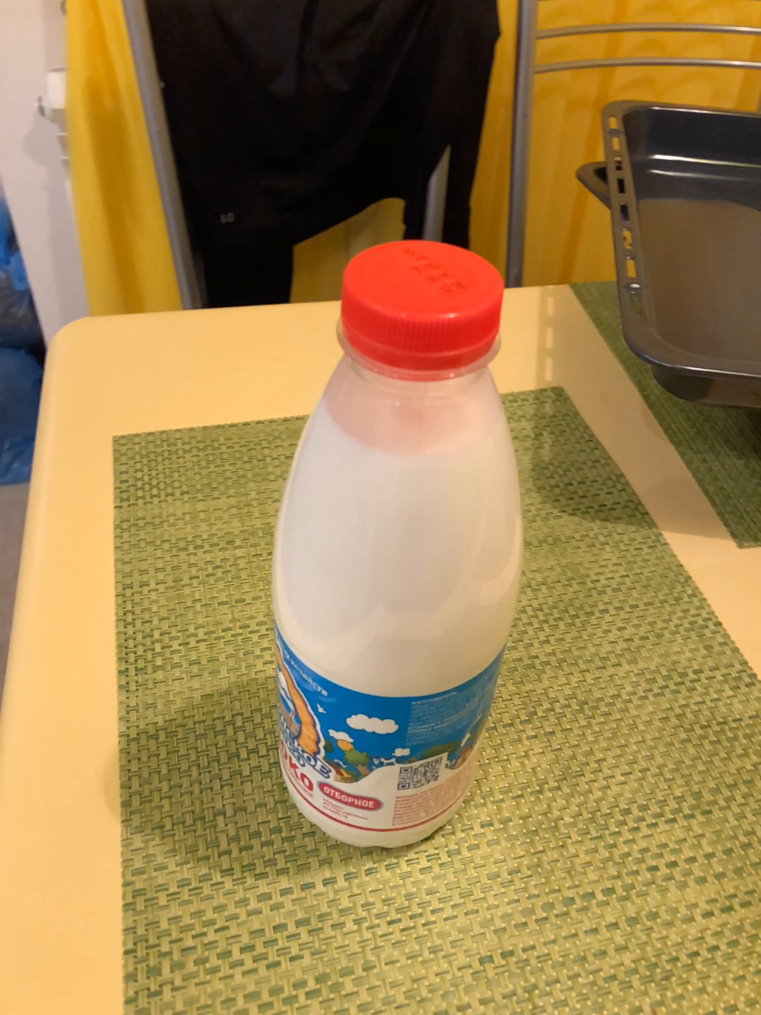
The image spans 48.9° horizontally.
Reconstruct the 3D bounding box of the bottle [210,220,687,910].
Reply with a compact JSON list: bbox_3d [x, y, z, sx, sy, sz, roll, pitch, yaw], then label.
[{"bbox_3d":[0.006,0.033,0.277,0.090,0.218,0.091,2,44,-2],"label":"bottle"}]
